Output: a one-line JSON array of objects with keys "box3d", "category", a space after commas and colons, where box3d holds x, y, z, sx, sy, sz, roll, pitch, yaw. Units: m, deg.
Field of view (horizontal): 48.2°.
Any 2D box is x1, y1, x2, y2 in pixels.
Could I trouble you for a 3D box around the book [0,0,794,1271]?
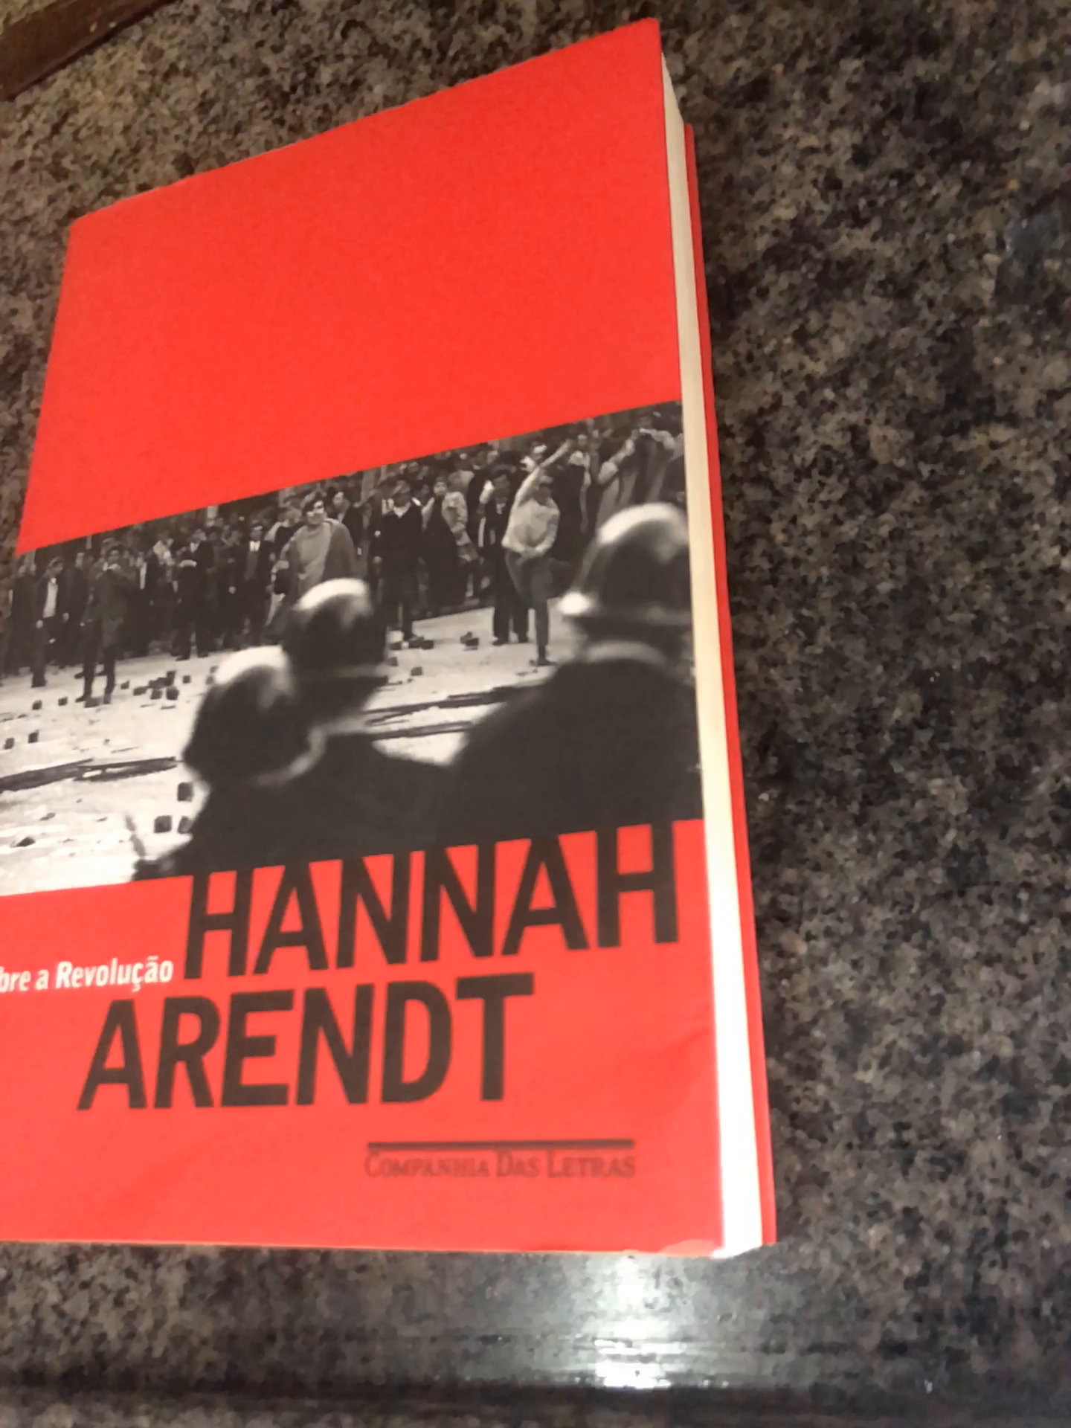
[{"box3d": [-0.037, -0.018, 0.217, 0.145, 0.030, 0.210, -9, 67, 21], "category": "book"}]
